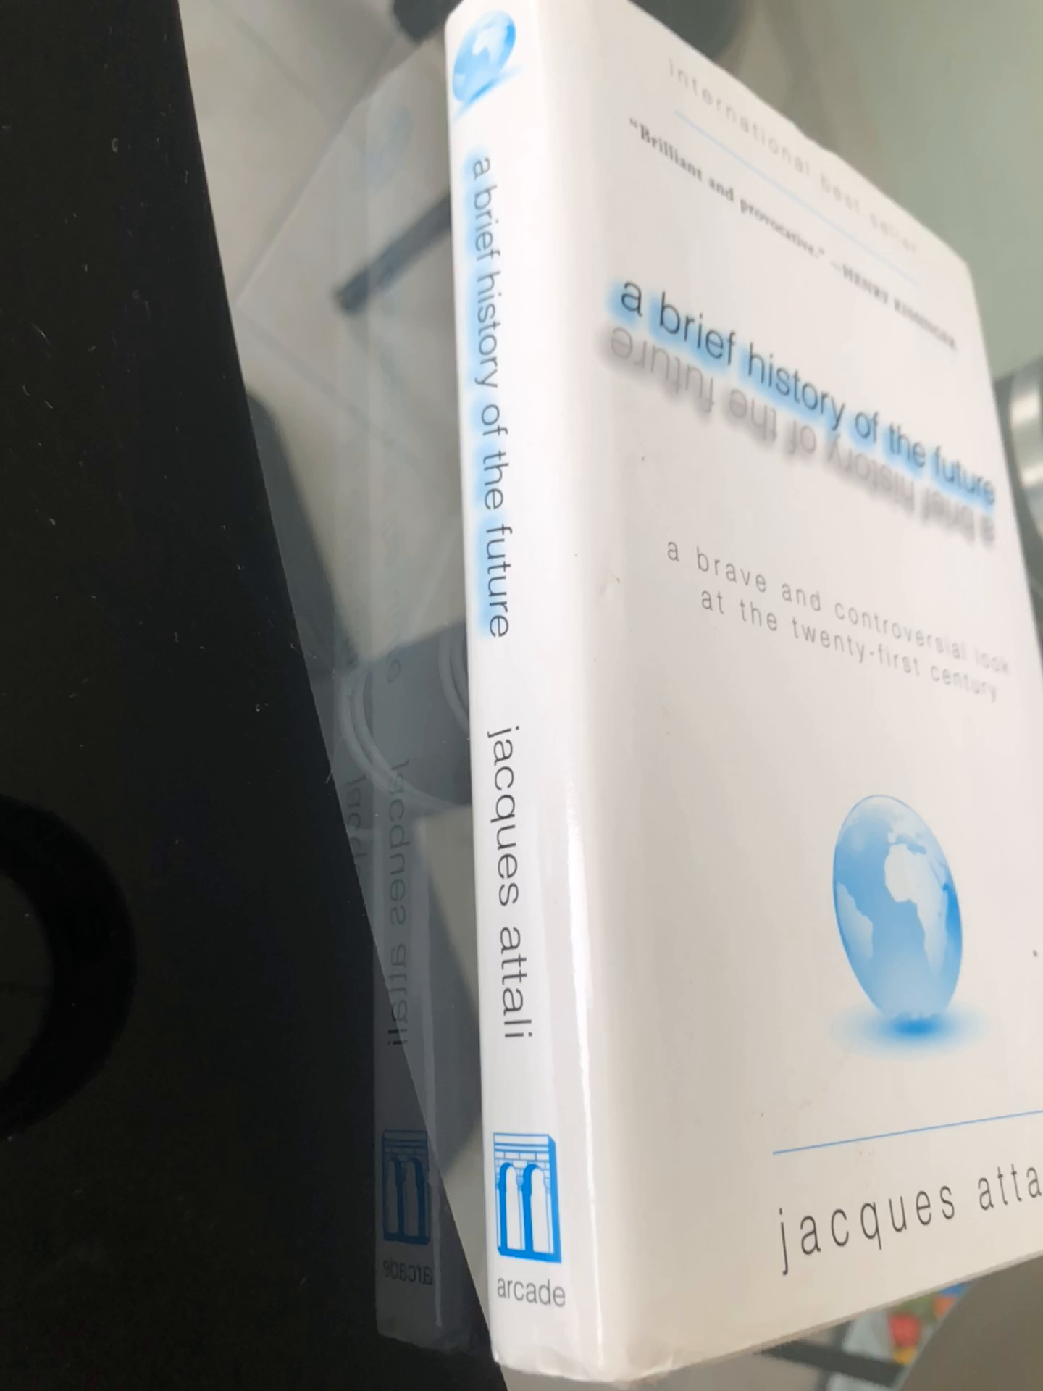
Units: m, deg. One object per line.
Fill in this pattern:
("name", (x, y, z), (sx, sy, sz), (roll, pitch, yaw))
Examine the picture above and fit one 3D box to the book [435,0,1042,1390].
("book", (0.057, -0.009, 0.205), (0.151, 0.040, 0.210), (13, 68, -41))
